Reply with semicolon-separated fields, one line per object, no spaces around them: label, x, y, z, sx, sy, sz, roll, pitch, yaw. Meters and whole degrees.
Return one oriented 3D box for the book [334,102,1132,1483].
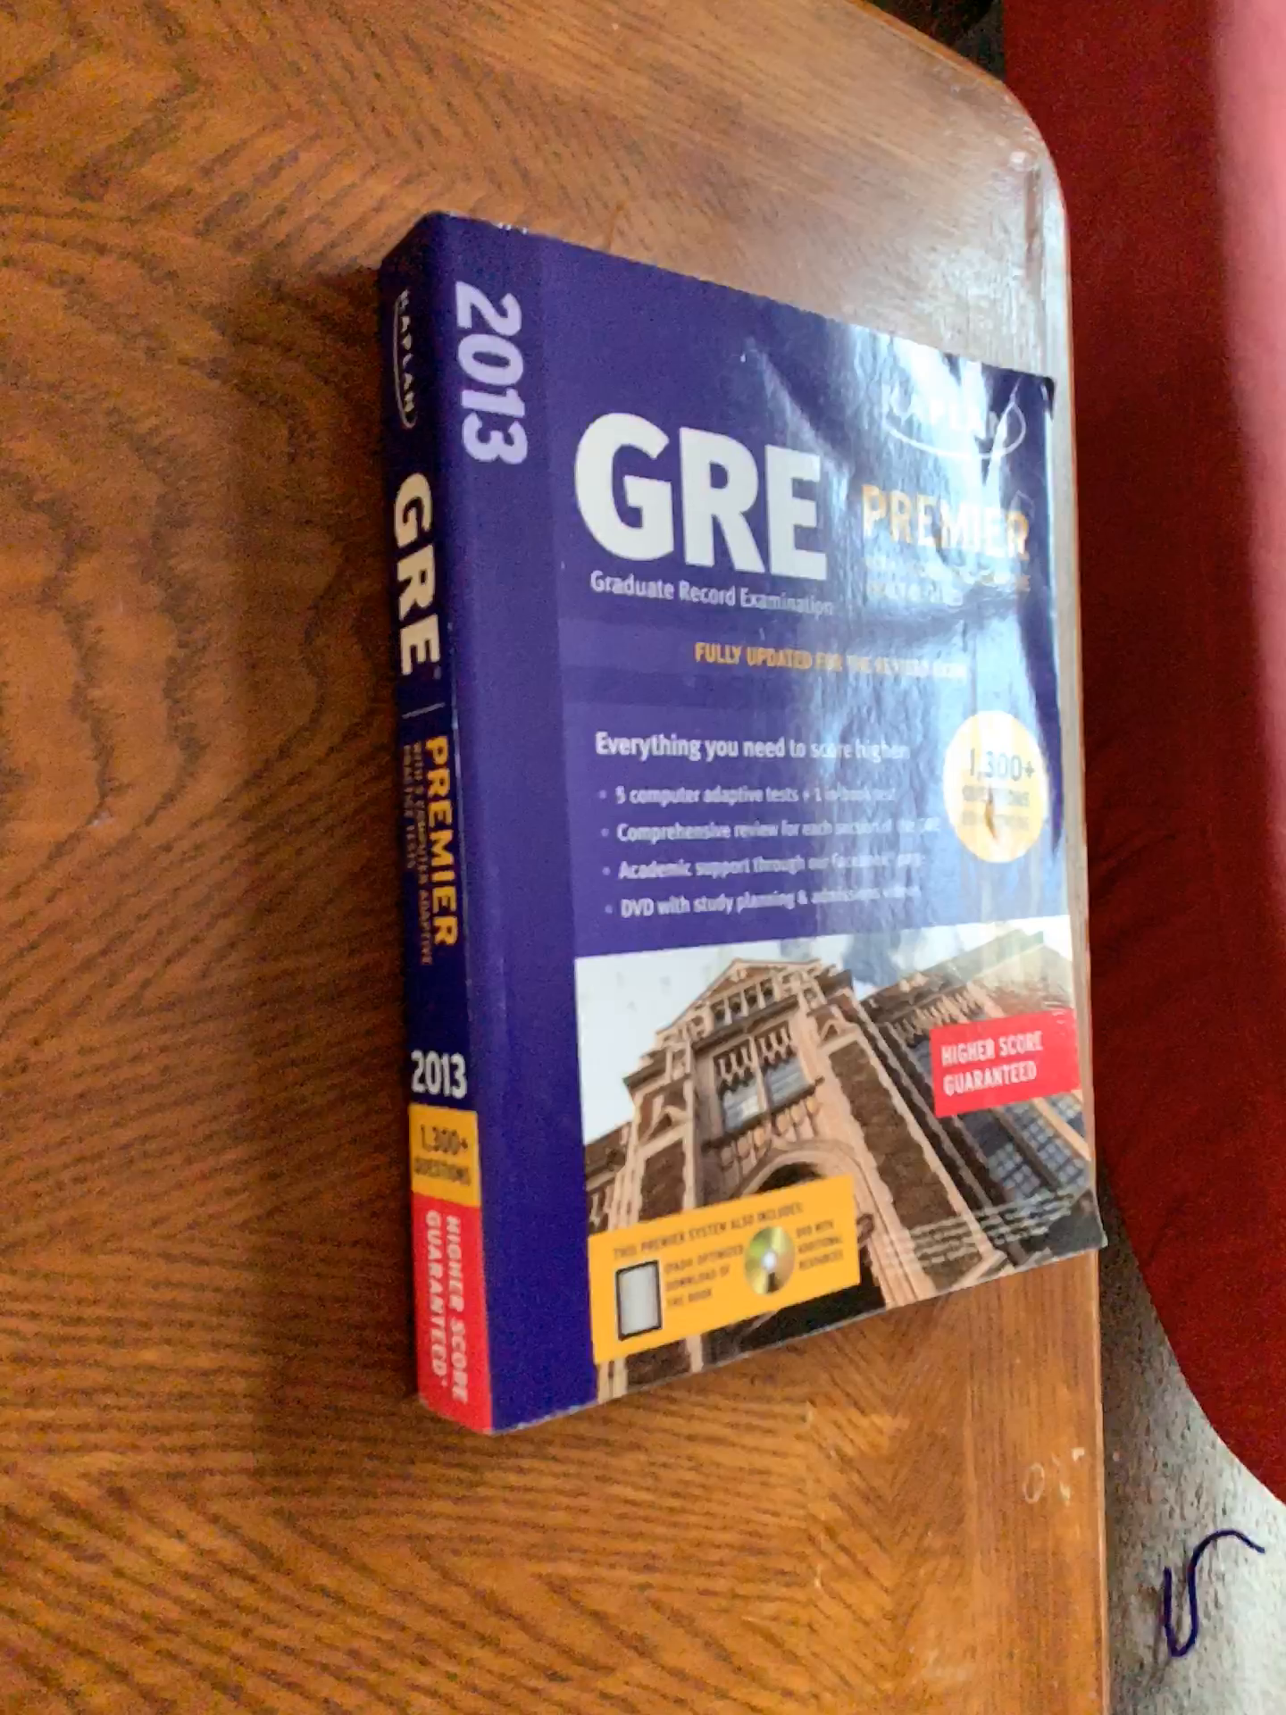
book;0.036;-0.016;0.364;0.221;0.060;0.290;-2;88;-36
